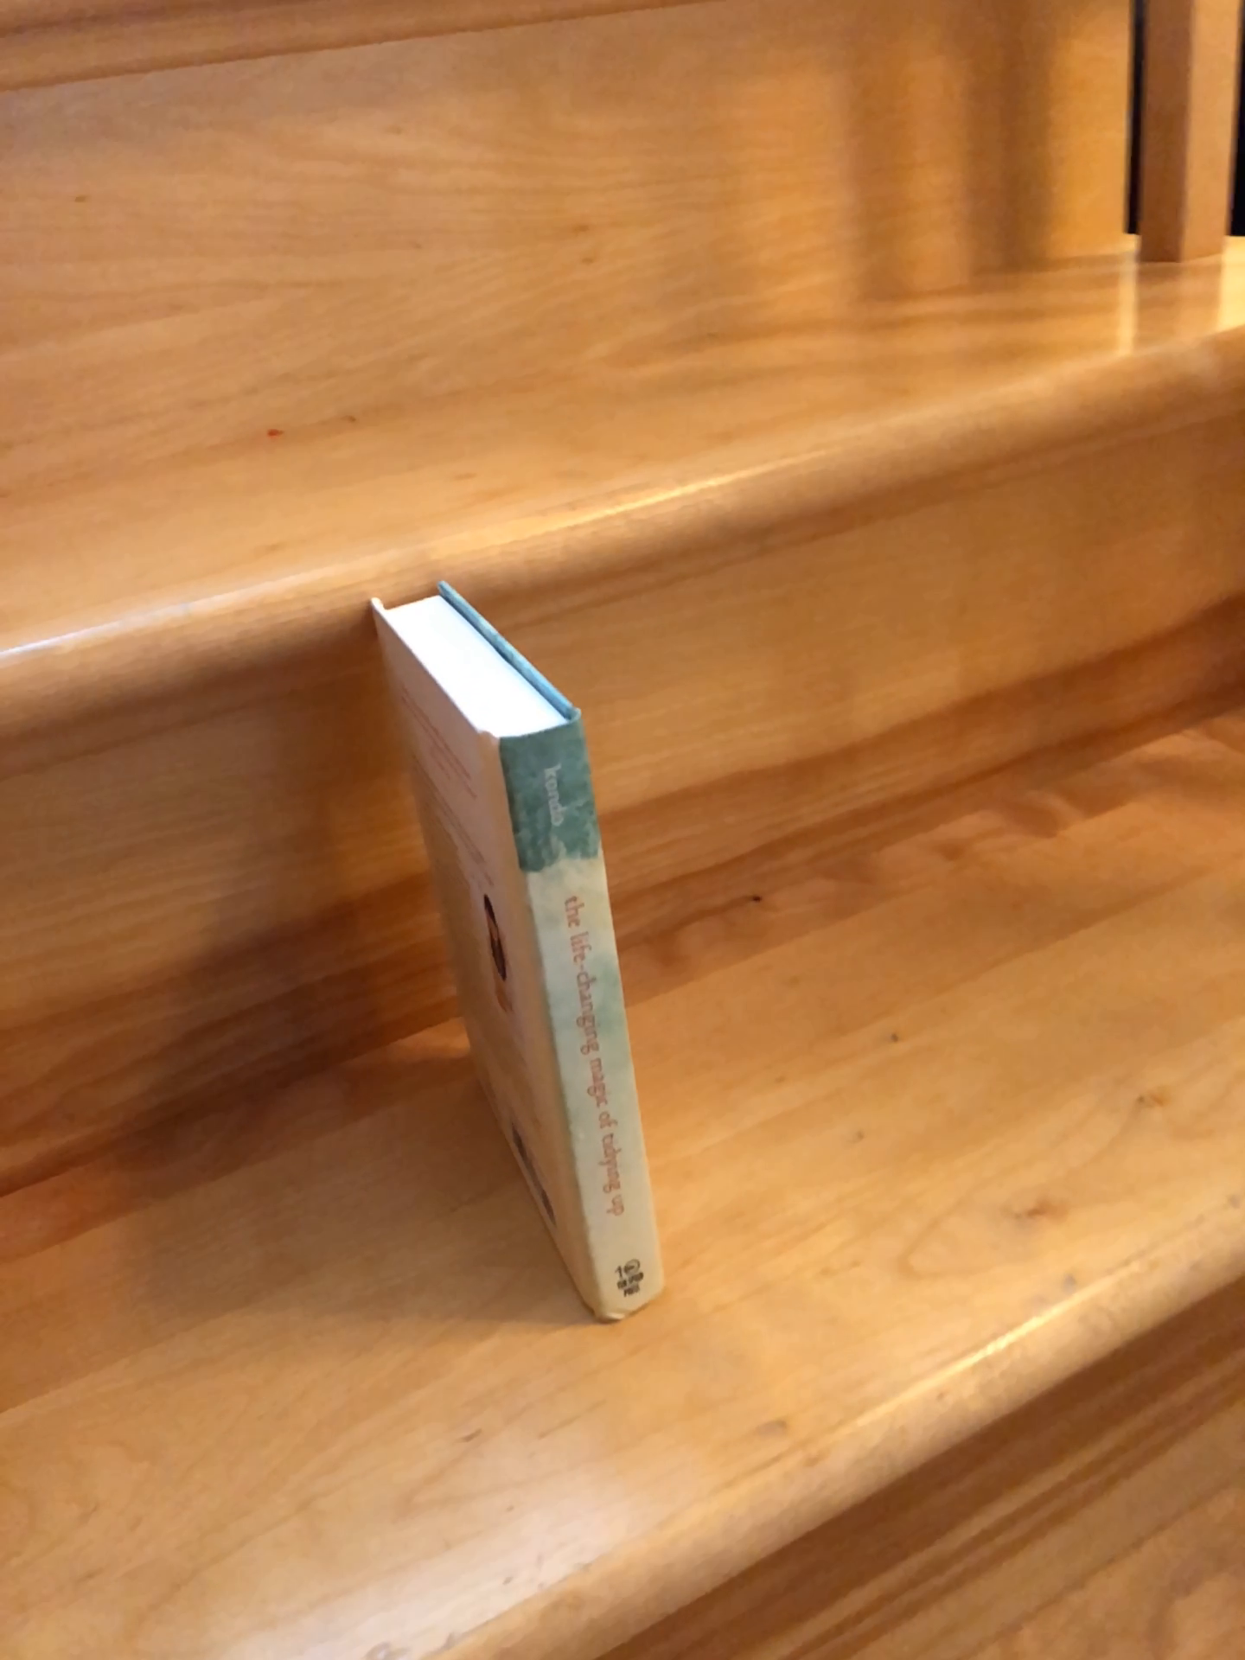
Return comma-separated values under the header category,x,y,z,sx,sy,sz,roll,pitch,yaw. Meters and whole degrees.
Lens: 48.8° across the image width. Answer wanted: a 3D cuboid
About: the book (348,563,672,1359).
category,x,y,z,sx,sy,sz,roll,pitch,yaw
book,-0.035,0.035,0.417,0.027,0.199,0.141,-16,28,-16
